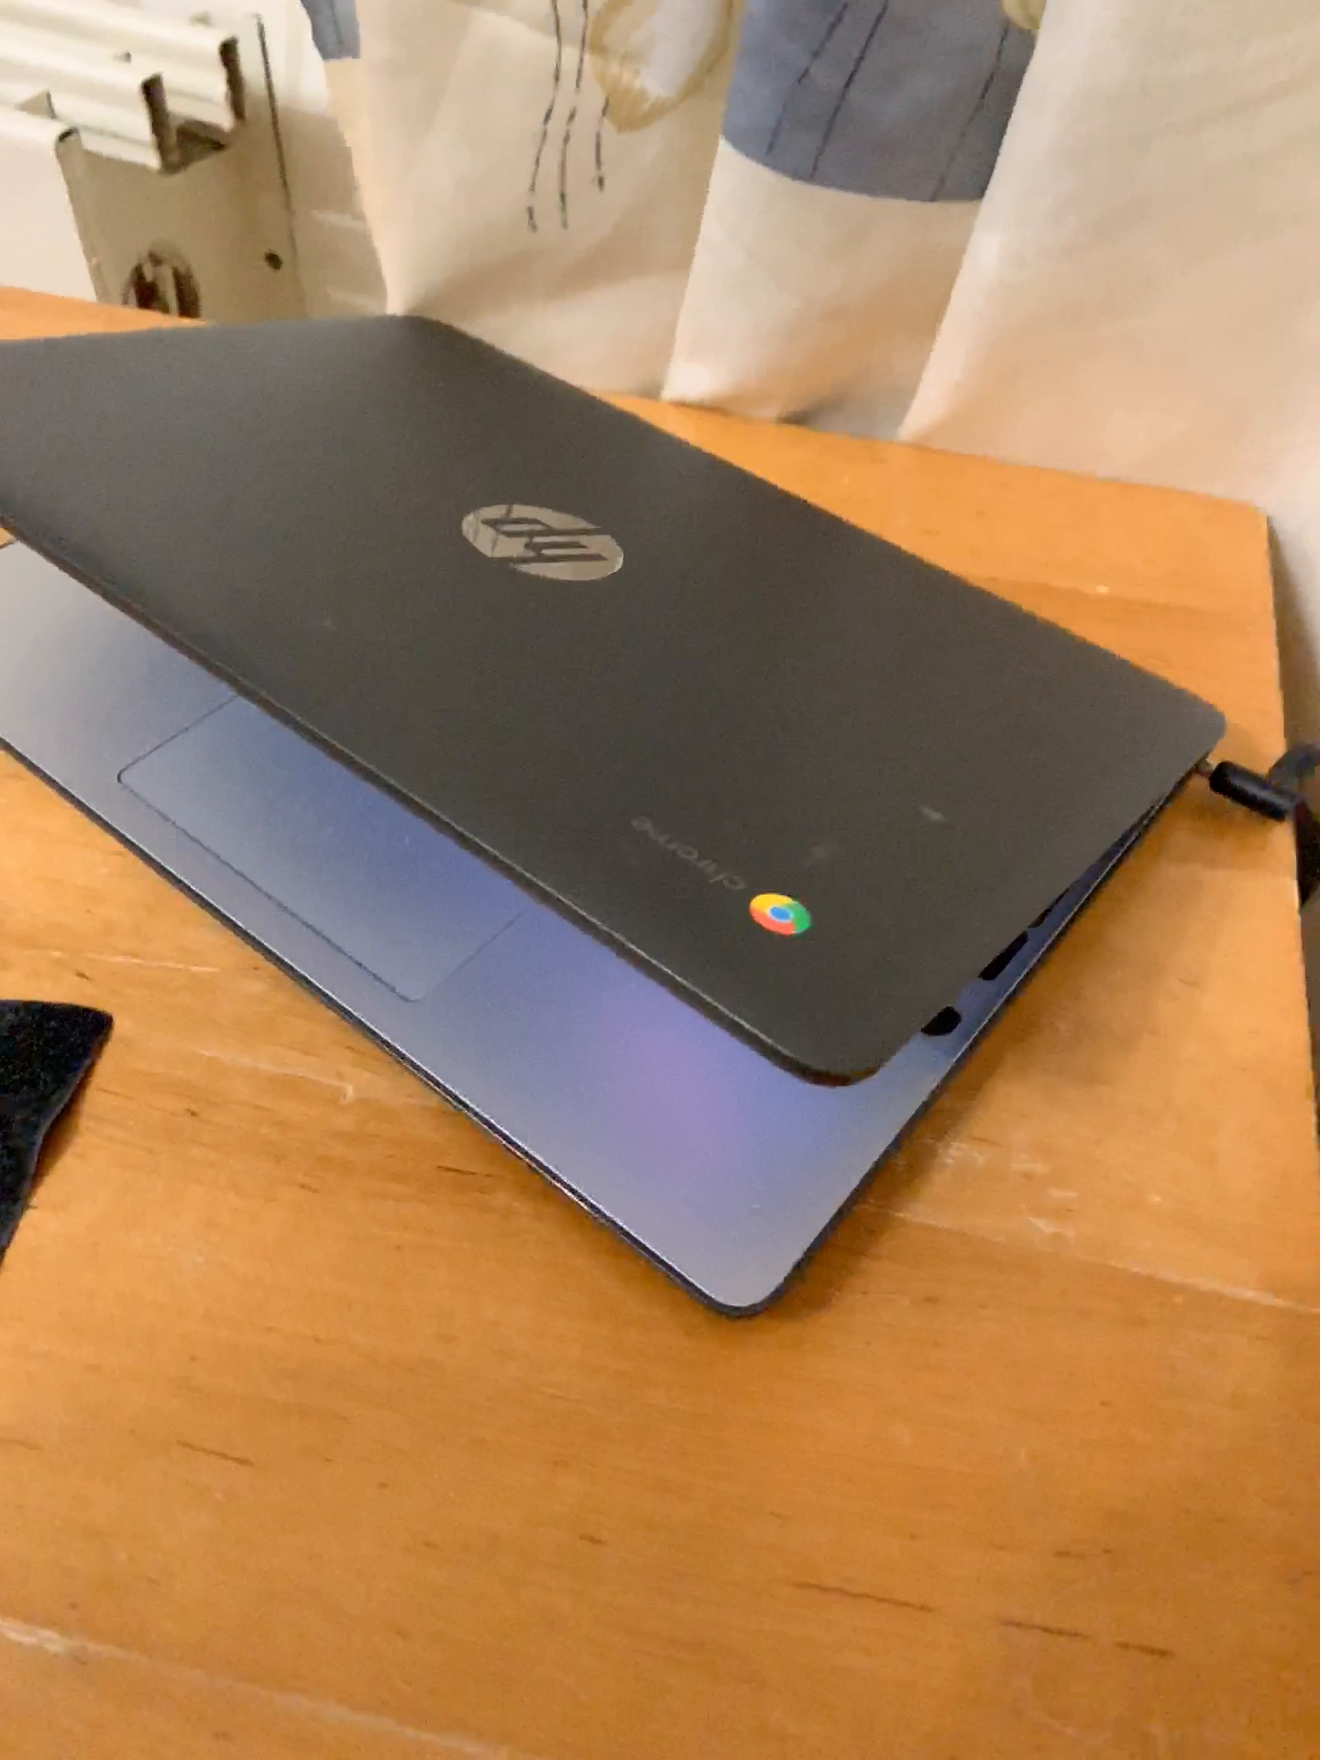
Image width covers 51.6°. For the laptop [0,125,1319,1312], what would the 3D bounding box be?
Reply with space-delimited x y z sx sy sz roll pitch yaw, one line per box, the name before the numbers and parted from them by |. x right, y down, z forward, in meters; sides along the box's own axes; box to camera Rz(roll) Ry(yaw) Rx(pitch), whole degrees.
laptop | -0.025 -0.070 0.313 0.268 0.066 0.191 33 56 22
